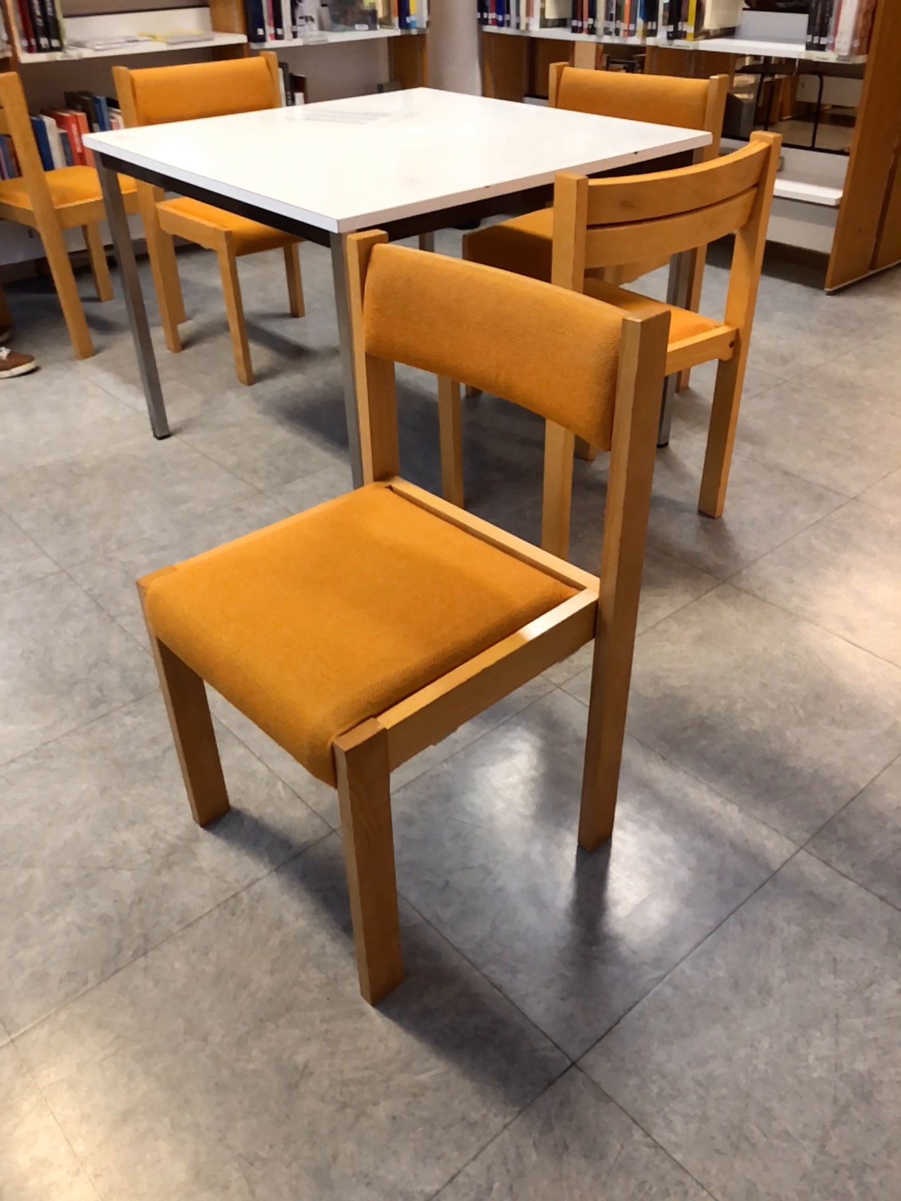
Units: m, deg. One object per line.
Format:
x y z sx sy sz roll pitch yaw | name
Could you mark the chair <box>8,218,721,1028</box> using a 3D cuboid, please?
-0.092 -0.020 1.227 0.523 0.696 0.550 -28 42 -33 | chair
